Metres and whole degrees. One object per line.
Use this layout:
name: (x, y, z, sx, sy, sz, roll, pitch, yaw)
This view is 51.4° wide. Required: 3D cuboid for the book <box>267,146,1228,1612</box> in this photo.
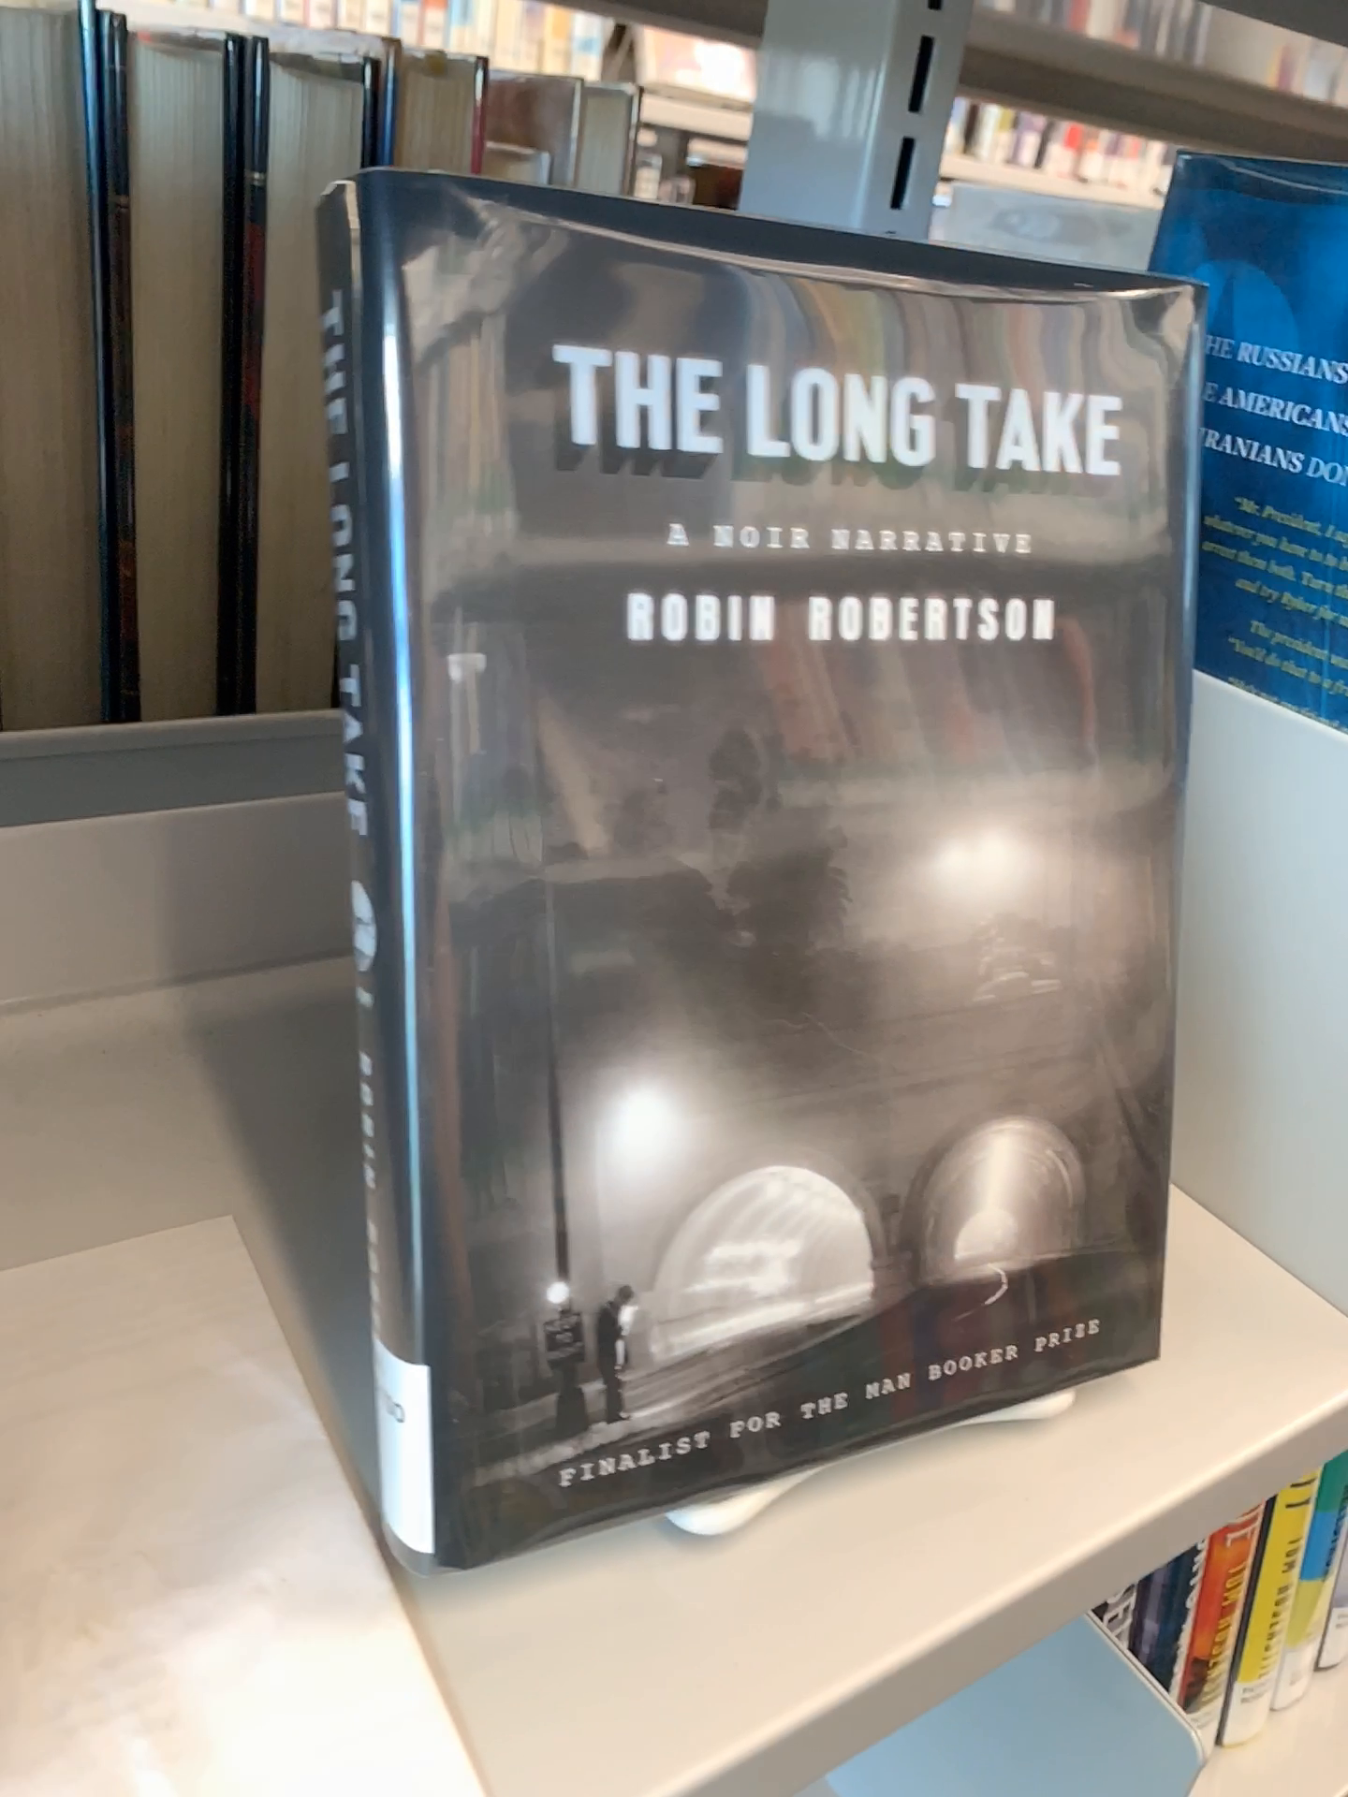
book: (0.020, -0.005, 0.247, 0.160, 0.206, 0.040, -6, 10, -26)
